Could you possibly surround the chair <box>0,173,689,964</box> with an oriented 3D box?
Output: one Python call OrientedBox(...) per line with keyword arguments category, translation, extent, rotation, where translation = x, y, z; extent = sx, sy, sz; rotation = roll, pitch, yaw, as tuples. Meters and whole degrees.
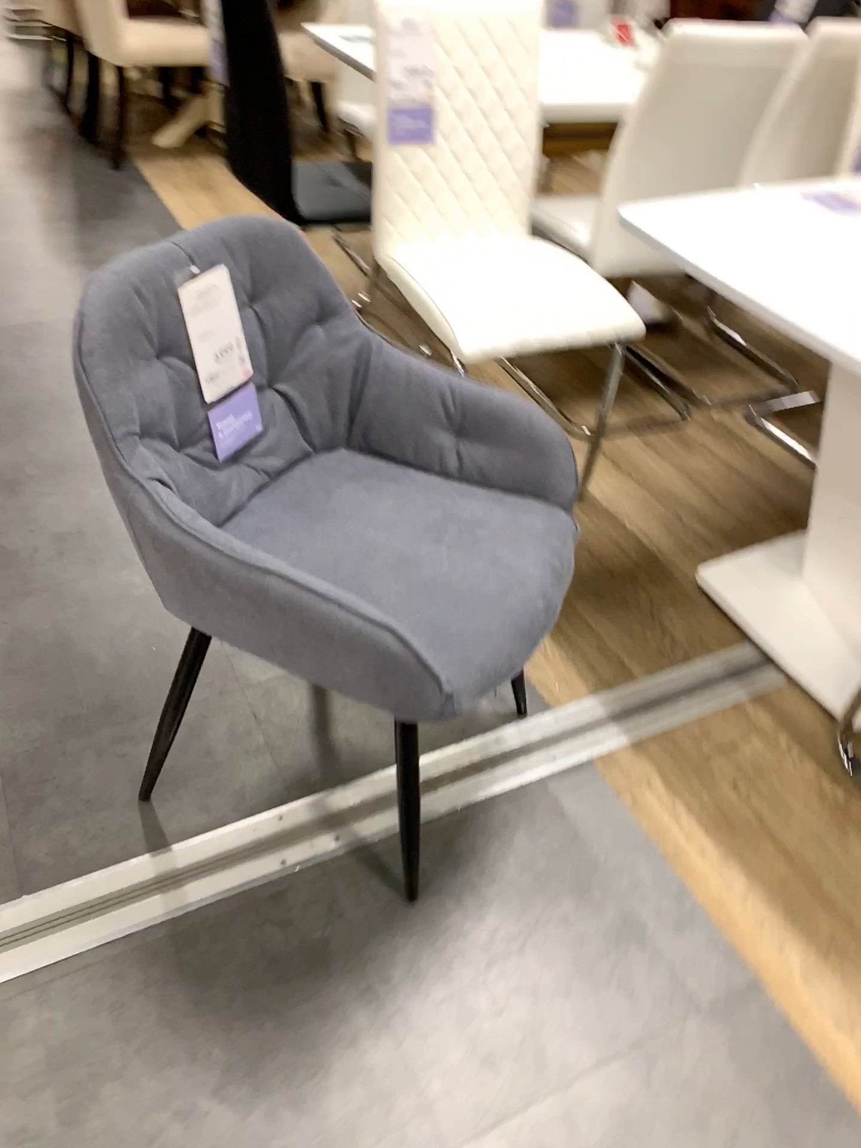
OrientedBox(category="chair", translation=(-0.107, -0.027, 1.236), extent=(0.590, 0.775, 0.563), rotation=(23, 42, 17))
